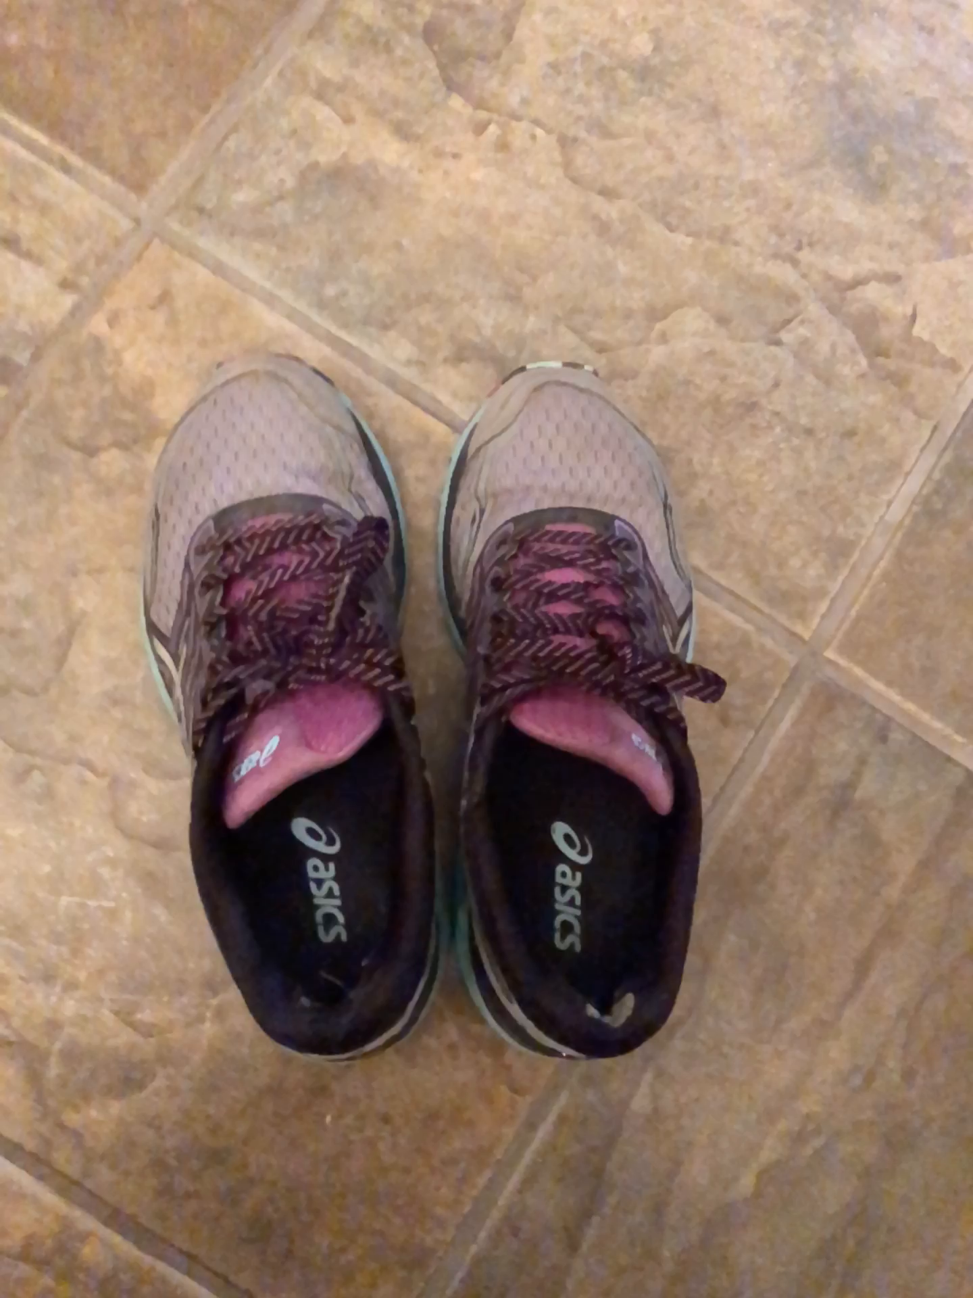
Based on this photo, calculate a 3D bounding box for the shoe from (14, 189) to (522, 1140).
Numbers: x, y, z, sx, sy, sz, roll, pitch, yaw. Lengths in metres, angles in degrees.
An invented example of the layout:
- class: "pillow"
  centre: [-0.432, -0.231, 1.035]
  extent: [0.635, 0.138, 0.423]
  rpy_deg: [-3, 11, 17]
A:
- class: "shoe"
  centre: [-0.074, 0.003, 0.390]
  extent: [0.110, 0.120, 0.280]
  rpy_deg: [-10, 84, -5]

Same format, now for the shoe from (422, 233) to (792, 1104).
- class: "shoe"
  centre: [0.033, 0.006, 0.406]
  extent: [0.110, 0.120, 0.280]
  rpy_deg: [-1, 83, -4]
